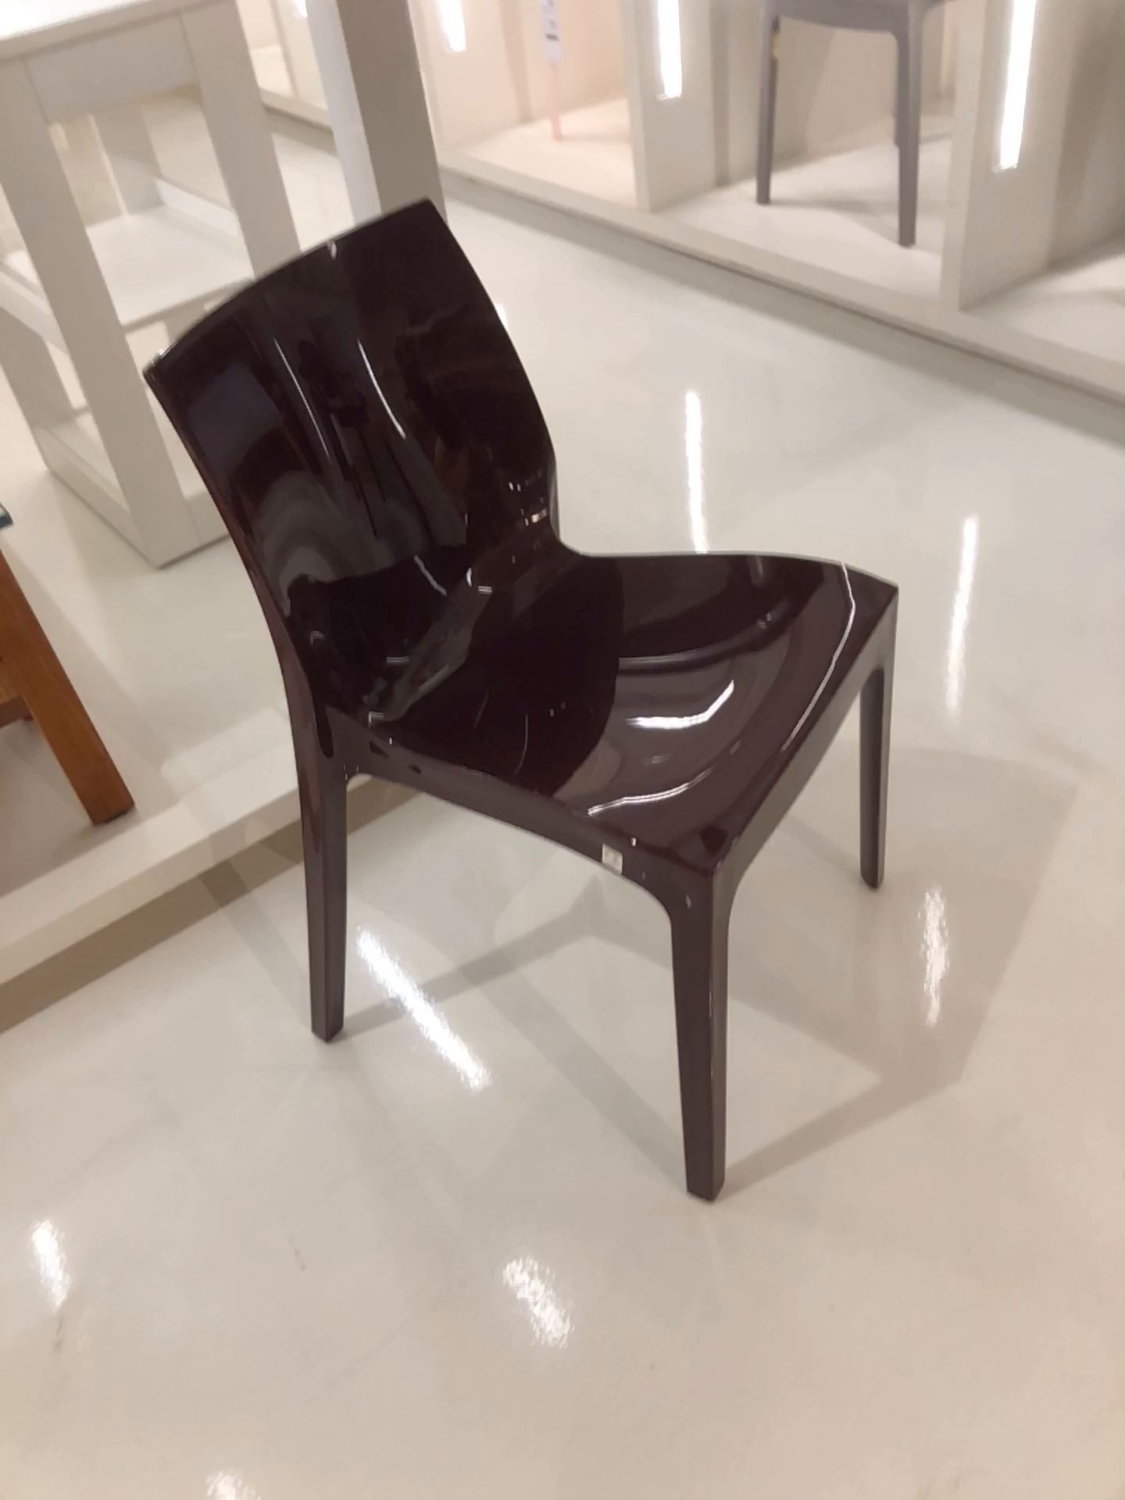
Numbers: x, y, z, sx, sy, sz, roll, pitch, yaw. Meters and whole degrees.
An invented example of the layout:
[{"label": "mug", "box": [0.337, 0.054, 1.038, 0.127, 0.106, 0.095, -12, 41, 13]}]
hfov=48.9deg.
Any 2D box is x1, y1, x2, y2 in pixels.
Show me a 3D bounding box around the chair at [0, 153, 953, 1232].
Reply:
[{"label": "chair", "box": [-0.006, -0.068, 1.238, 0.561, 0.813, 0.533, 17, 47, 27]}]
